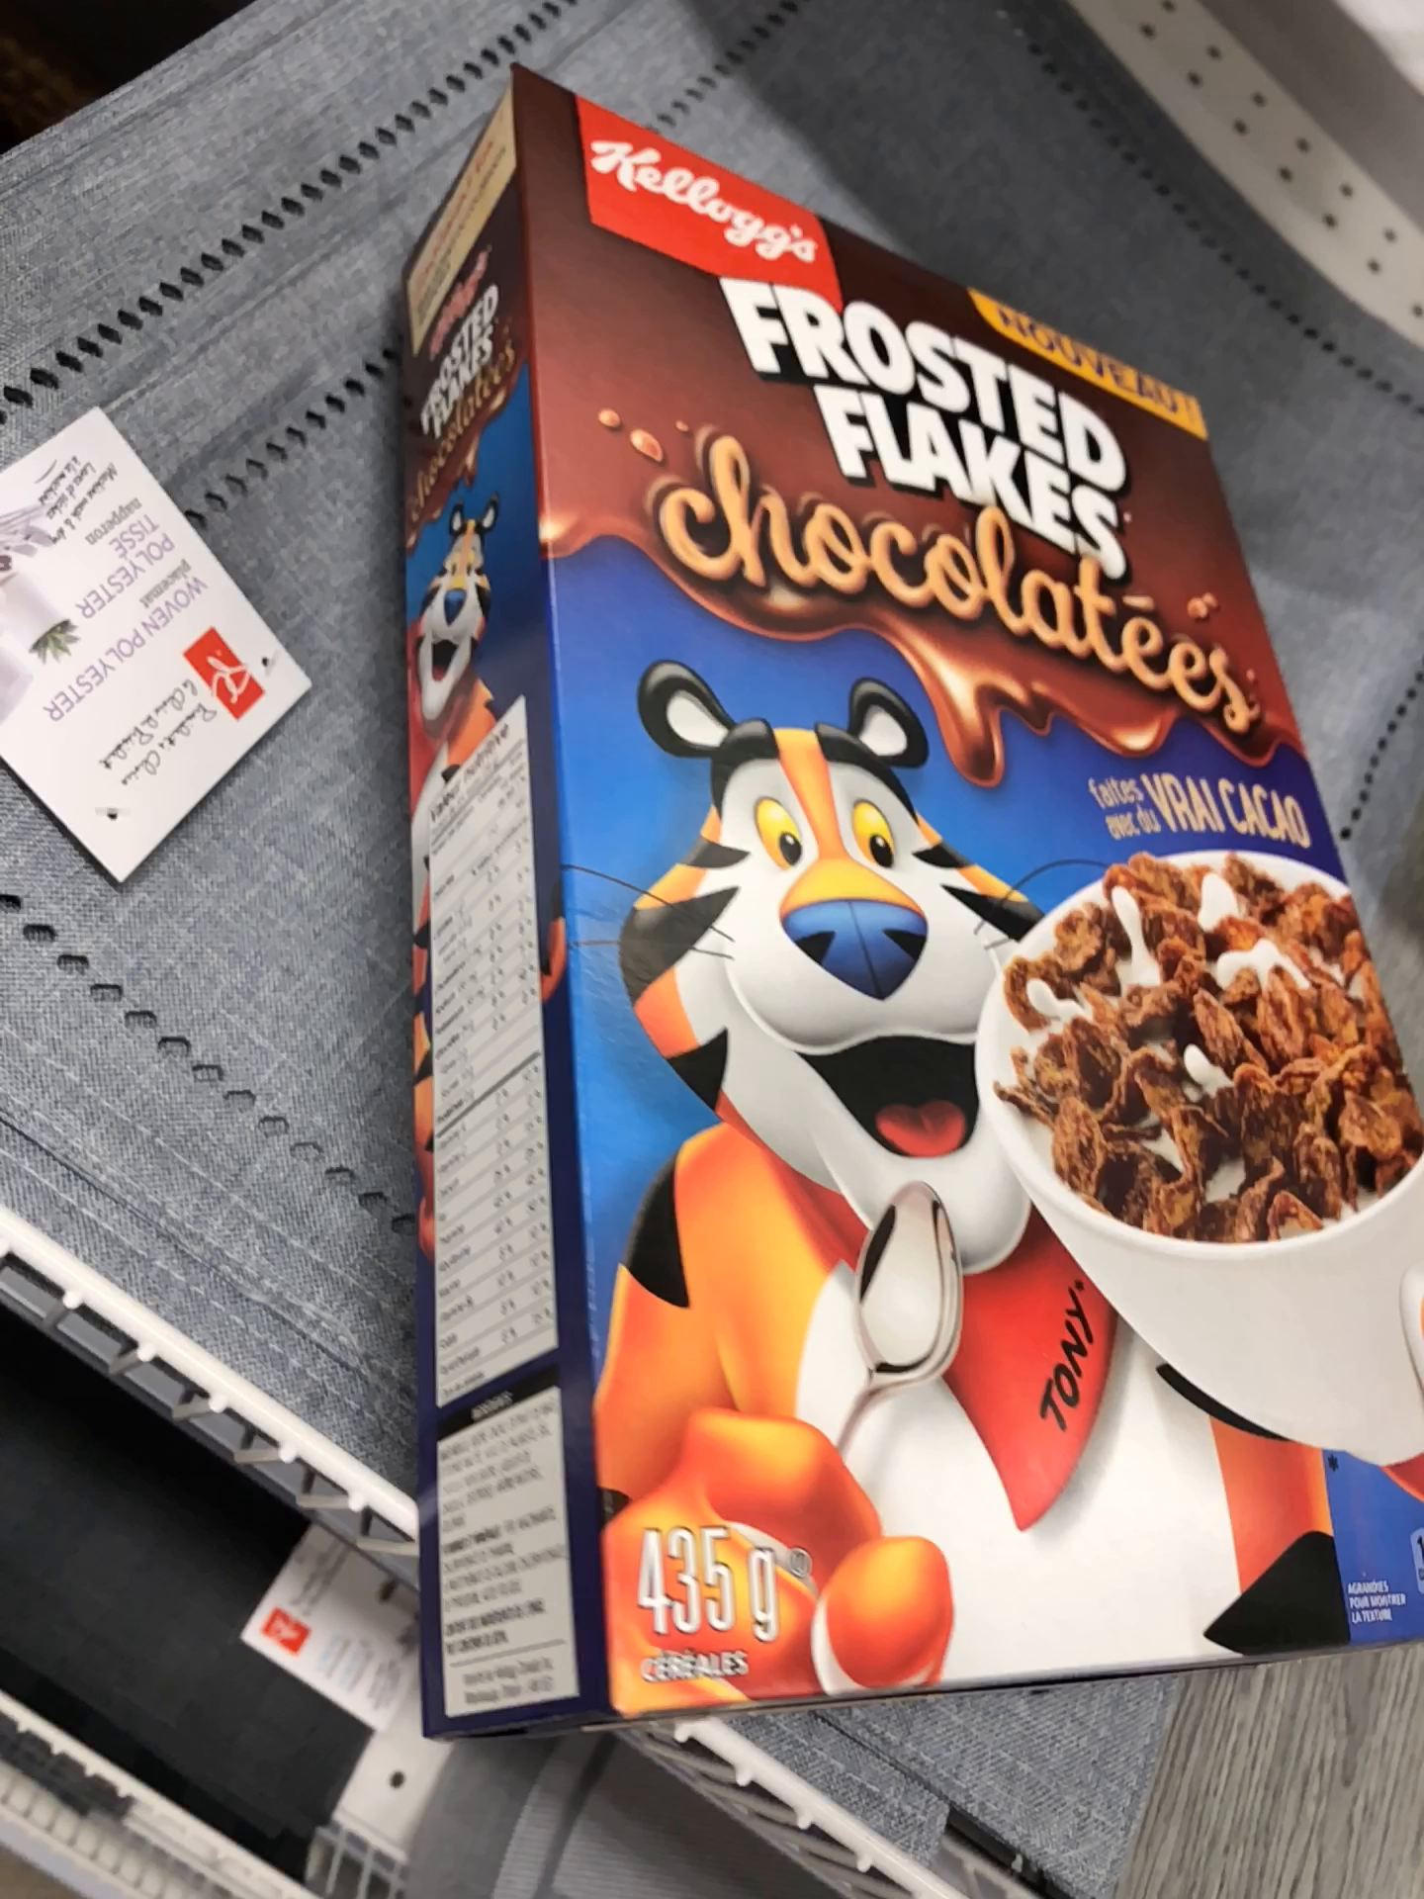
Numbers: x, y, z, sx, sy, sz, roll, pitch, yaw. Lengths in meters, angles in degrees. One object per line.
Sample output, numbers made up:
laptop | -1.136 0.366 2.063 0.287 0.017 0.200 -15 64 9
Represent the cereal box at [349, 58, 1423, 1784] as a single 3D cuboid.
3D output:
cereal box | 0.039 -0.013 0.335 0.211 0.070 0.310 11 58 -31
